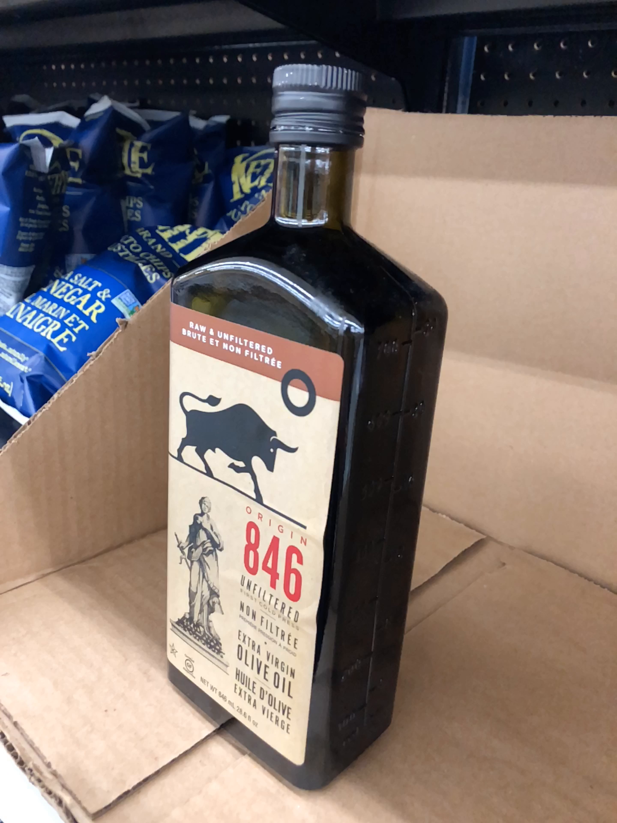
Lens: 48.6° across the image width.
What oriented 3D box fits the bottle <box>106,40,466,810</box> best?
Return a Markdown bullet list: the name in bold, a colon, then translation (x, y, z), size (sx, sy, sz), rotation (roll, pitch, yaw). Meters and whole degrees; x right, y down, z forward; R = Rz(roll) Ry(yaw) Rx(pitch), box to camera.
- **bottle**: translation (-0.015, 0.007, 0.258), size (0.100, 0.248, 0.060), rotation (19, 26, 38)
